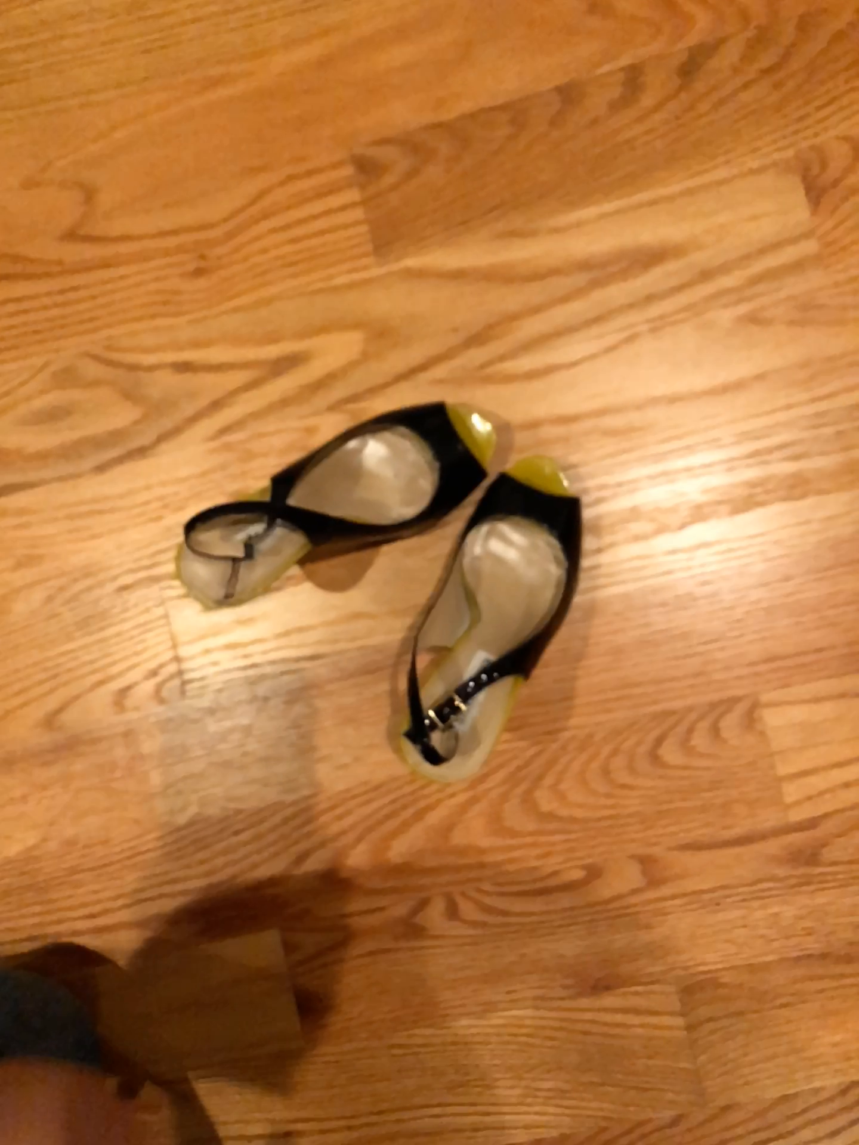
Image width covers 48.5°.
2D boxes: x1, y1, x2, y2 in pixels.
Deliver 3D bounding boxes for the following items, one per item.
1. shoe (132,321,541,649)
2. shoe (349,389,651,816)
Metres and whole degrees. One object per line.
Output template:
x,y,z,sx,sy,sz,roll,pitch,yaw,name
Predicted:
-0.045,-0.044,0.564,0.204,0.122,0.085,-29,86,5,shoe
0.042,0.016,0.554,0.085,0.132,0.201,22,92,6,shoe
